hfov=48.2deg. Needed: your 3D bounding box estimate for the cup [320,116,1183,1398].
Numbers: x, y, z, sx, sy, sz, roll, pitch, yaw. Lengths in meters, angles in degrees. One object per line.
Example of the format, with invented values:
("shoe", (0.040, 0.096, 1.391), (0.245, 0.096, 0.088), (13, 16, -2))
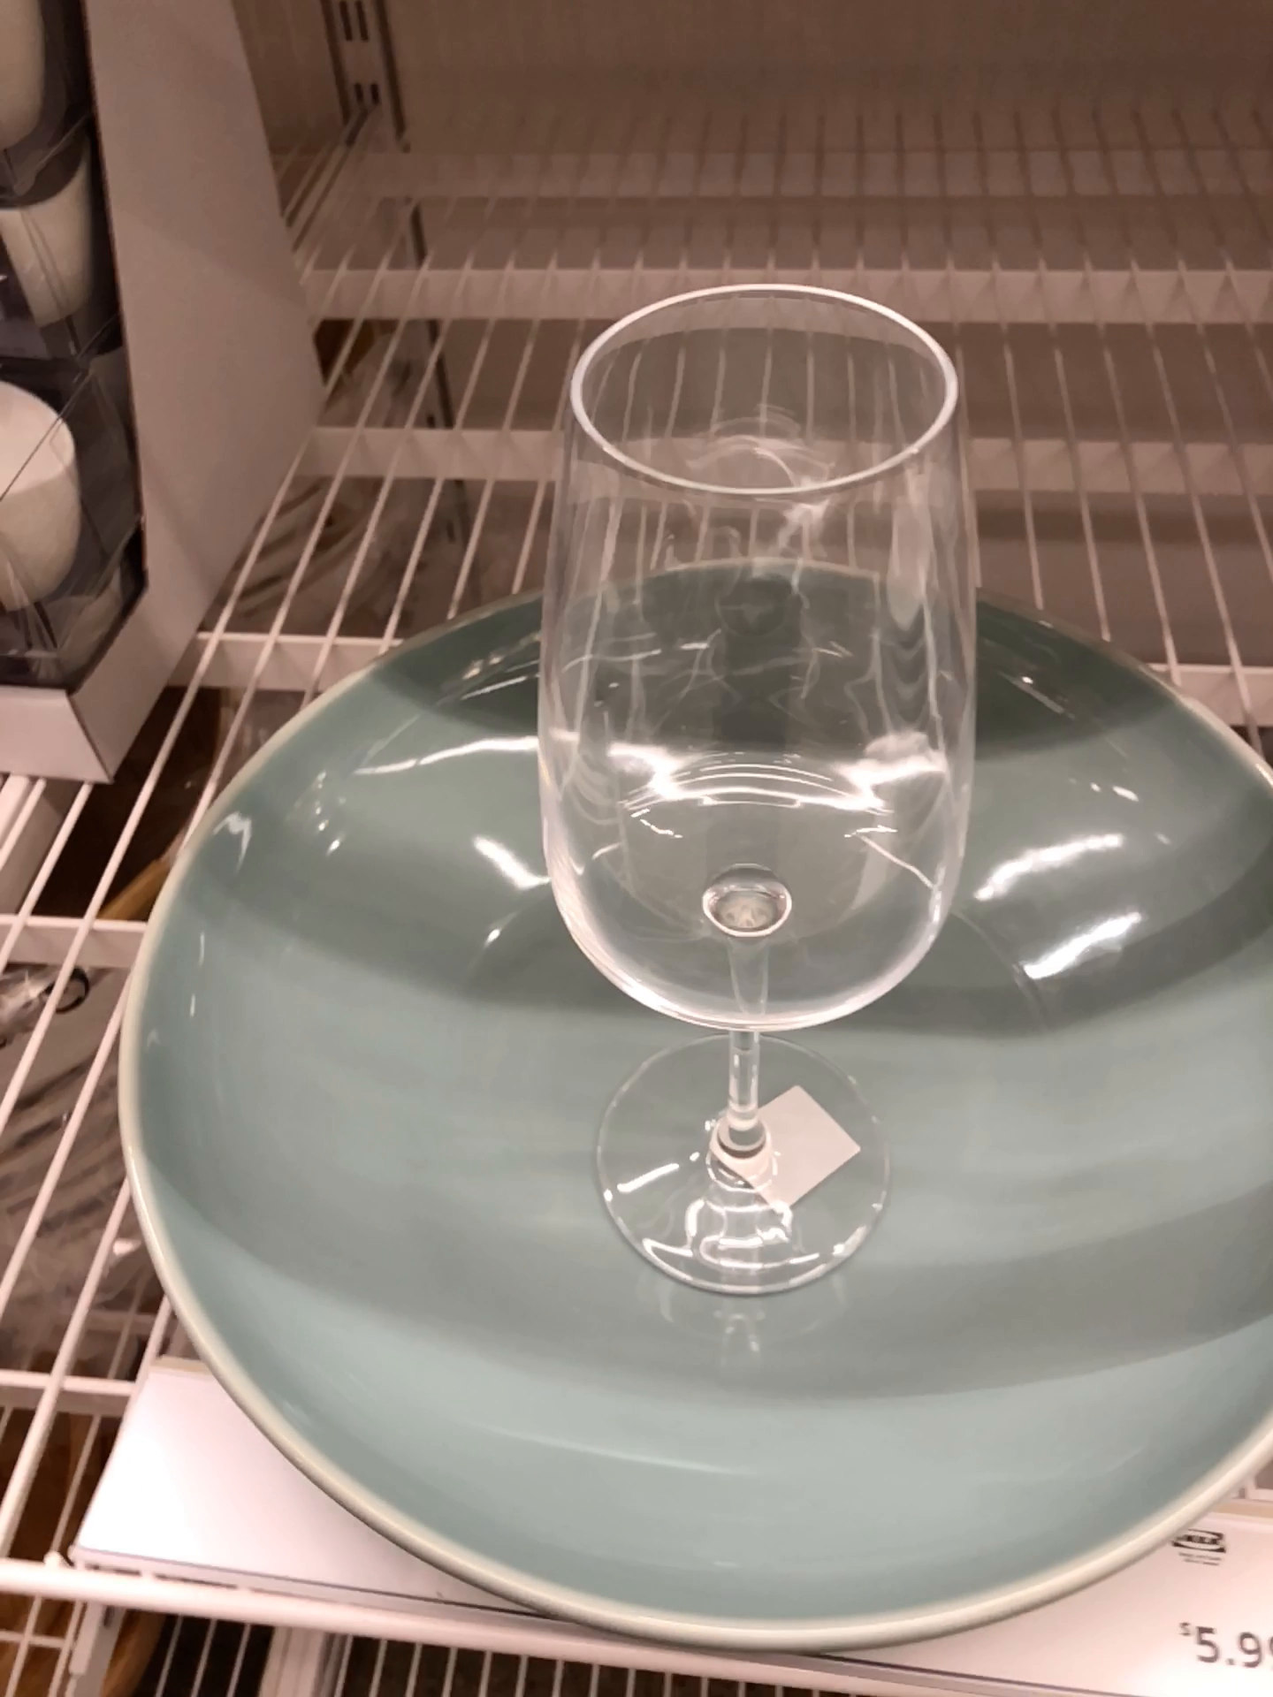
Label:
("cup", (0.026, 0.003, 0.331), (0.100, 0.279, 0.100), (-2, 47, 2))
